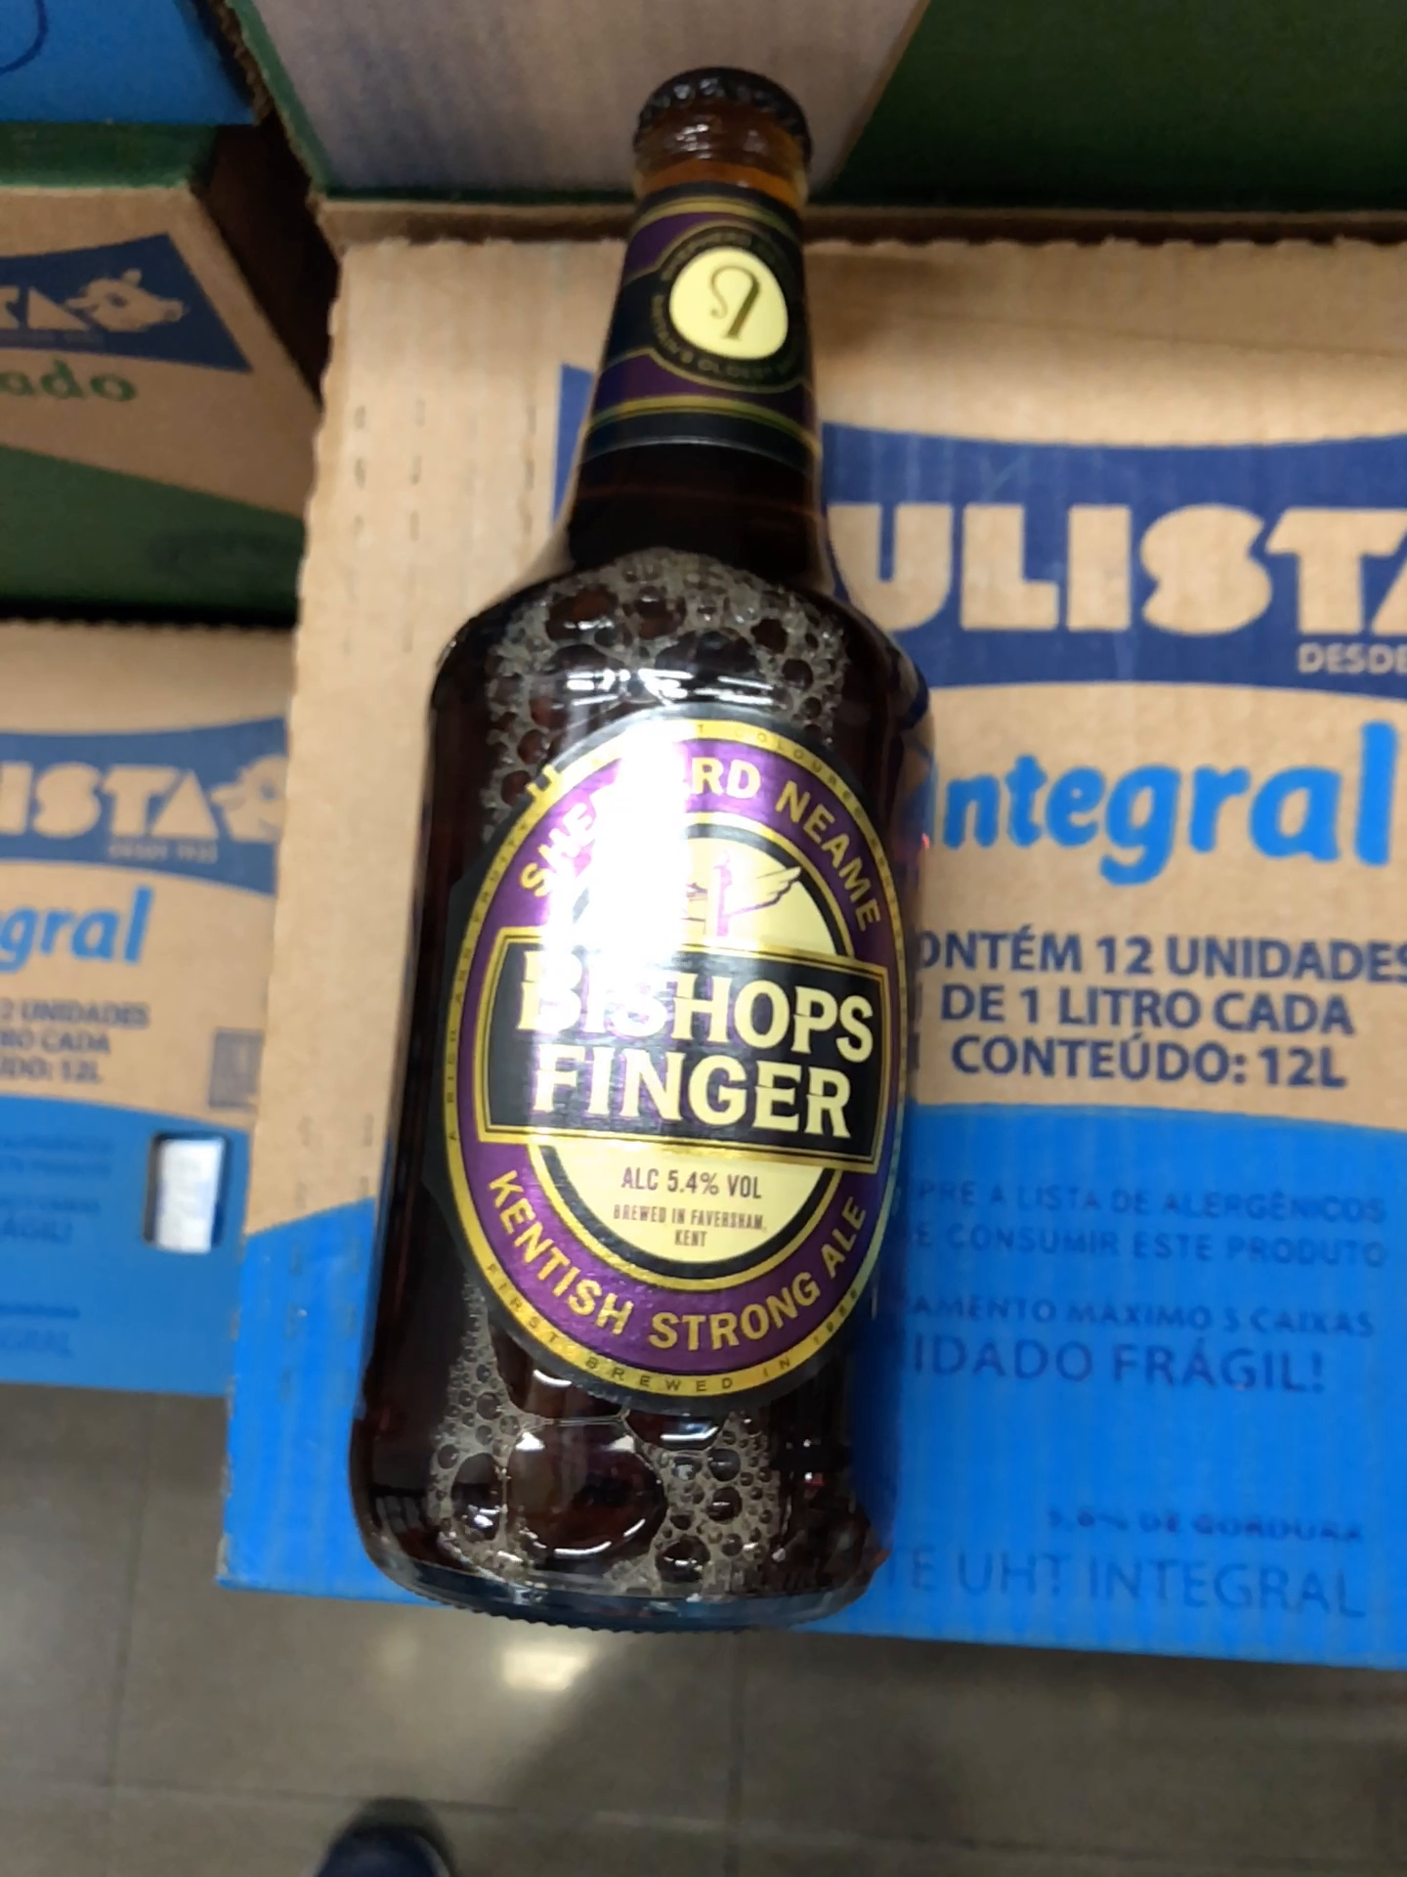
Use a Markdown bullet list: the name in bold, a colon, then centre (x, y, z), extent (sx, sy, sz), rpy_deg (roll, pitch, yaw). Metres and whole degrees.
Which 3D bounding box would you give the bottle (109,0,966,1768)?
- **bottle**: centre (-0.012, -0.034, 0.221), extent (0.080, 0.070, 0.250), rpy_deg (3, 79, 4)
